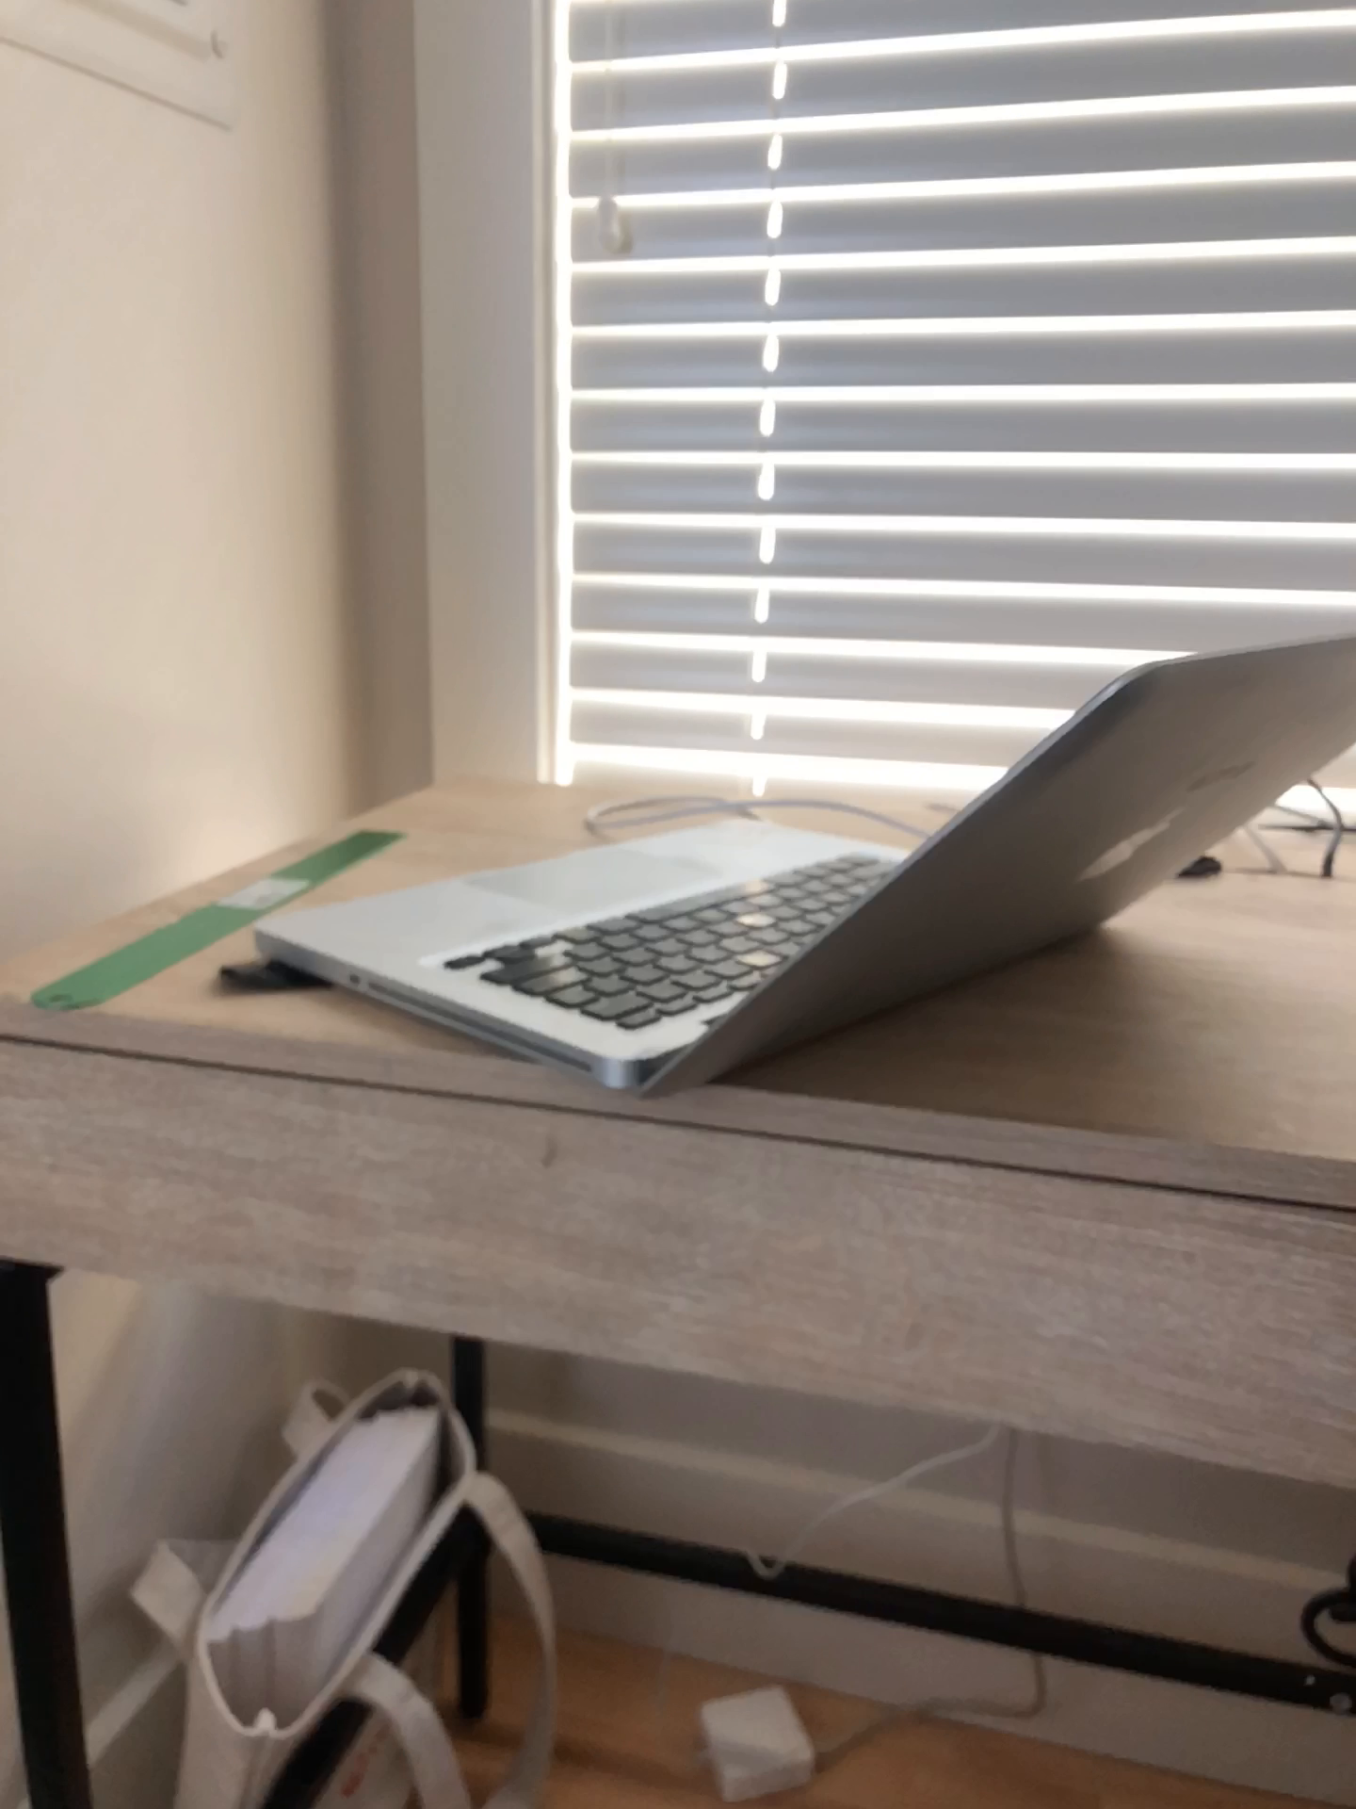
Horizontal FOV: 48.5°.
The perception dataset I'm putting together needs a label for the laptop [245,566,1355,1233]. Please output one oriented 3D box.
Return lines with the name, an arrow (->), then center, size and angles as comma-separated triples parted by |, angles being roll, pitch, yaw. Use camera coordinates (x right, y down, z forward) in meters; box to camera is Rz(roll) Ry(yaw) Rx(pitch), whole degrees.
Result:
laptop -> 0.073, -0.048, 0.590 | 0.345, 0.133, 0.321 | 16, 21, 39
